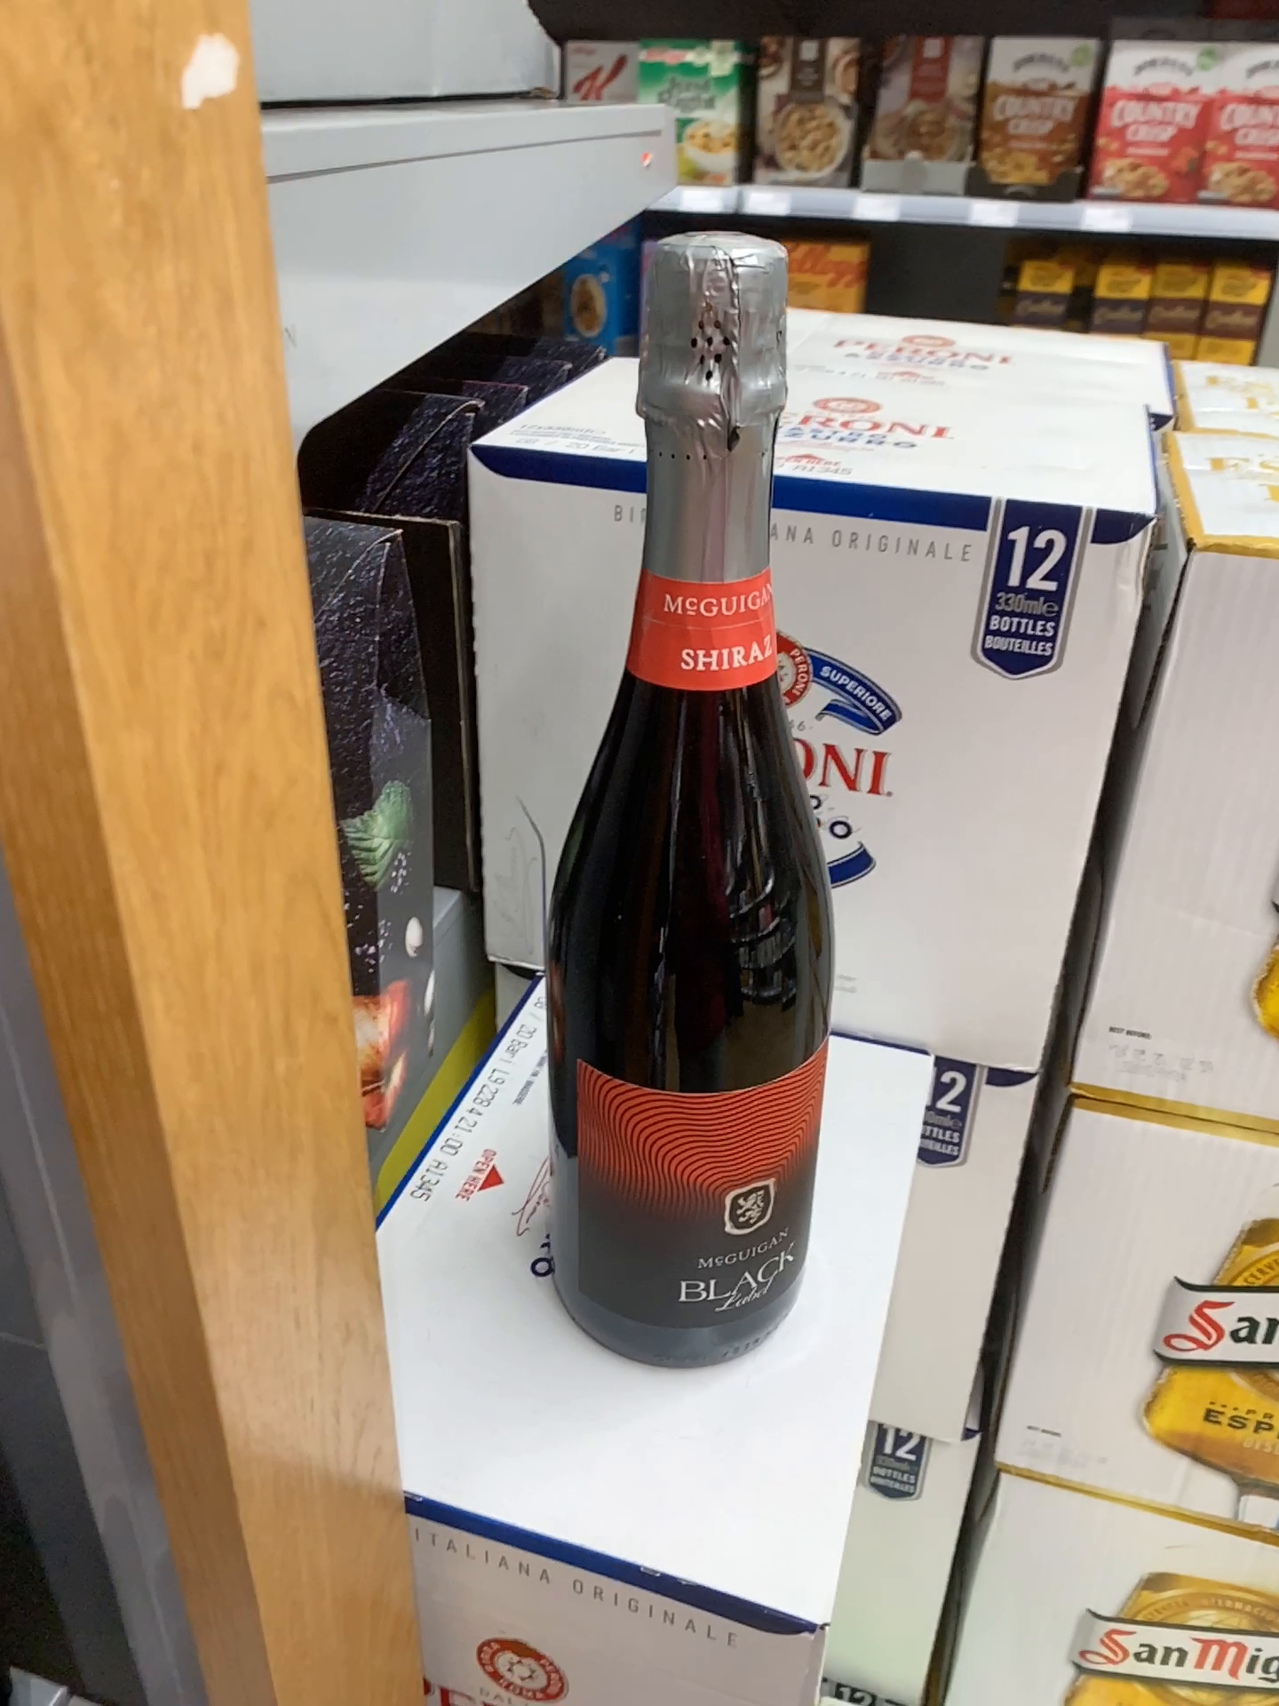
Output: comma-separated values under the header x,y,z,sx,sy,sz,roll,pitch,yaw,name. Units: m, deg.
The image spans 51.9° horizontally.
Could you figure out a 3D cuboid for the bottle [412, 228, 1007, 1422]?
x,y,z,sx,sy,sz,roll,pitch,yaw,name
0.008,0.000,0.347,0.090,0.289,0.095,1,29,-1,bottle
